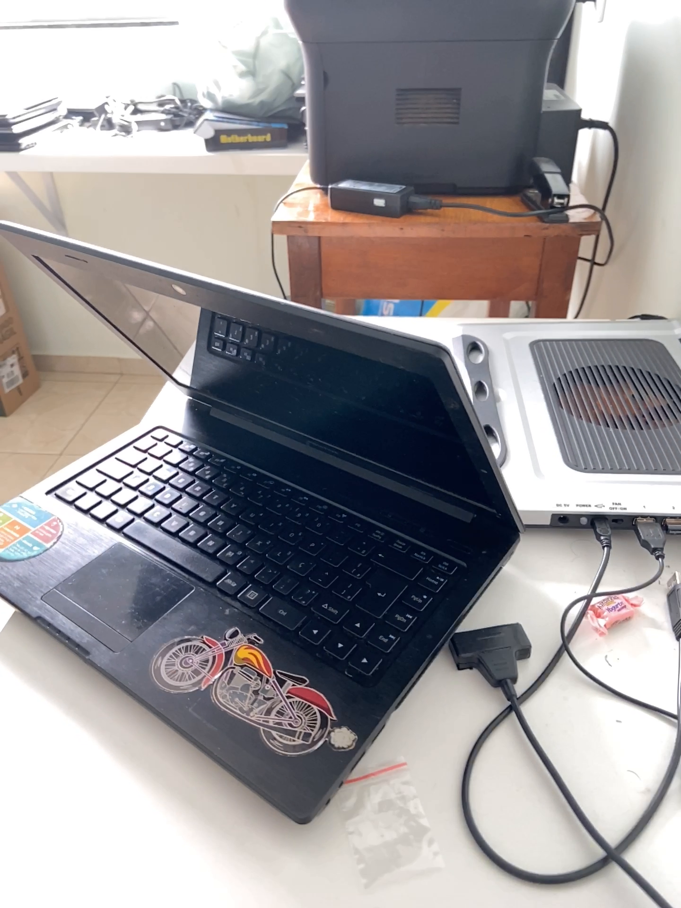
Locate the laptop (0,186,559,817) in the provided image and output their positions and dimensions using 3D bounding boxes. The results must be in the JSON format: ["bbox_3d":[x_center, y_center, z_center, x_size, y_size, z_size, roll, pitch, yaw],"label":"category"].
[{"bbox_3d":[-0.083,-0.020,0.430,0.330,0.189,0.234,21,41,31],"label":"laptop"}]
